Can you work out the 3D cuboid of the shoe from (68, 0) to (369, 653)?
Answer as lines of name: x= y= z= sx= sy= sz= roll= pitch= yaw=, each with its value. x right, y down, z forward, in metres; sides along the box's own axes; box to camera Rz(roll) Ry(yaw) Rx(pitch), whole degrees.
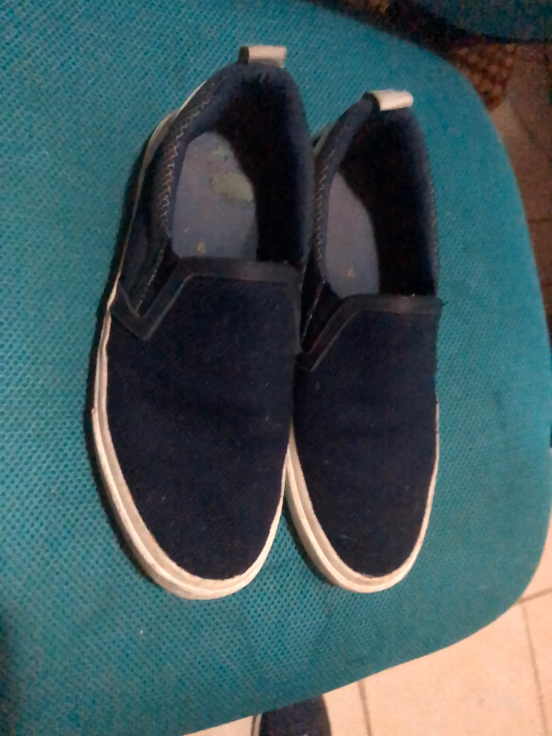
shoe: x=-0.036 y=-0.026 z=0.325 sx=0.120 sy=0.110 sz=0.290 roll=3 pitch=81 yaw=-24

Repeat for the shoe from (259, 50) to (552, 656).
shoe: x=0.073 y=-0.009 z=0.364 sx=0.120 sy=0.110 sz=0.290 roll=0 pitch=82 yaw=-24
